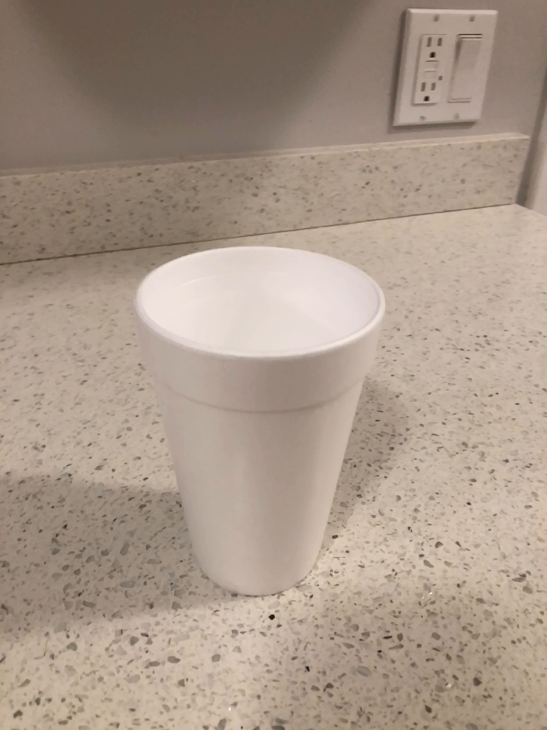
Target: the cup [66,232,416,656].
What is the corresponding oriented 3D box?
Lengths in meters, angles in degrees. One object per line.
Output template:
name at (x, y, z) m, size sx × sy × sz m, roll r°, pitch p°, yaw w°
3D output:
cup at (-0.008, 0.024, 0.243) m, size 0.090 × 0.118 × 0.088 m, roll 1°, pitch 32°, yaw 0°
